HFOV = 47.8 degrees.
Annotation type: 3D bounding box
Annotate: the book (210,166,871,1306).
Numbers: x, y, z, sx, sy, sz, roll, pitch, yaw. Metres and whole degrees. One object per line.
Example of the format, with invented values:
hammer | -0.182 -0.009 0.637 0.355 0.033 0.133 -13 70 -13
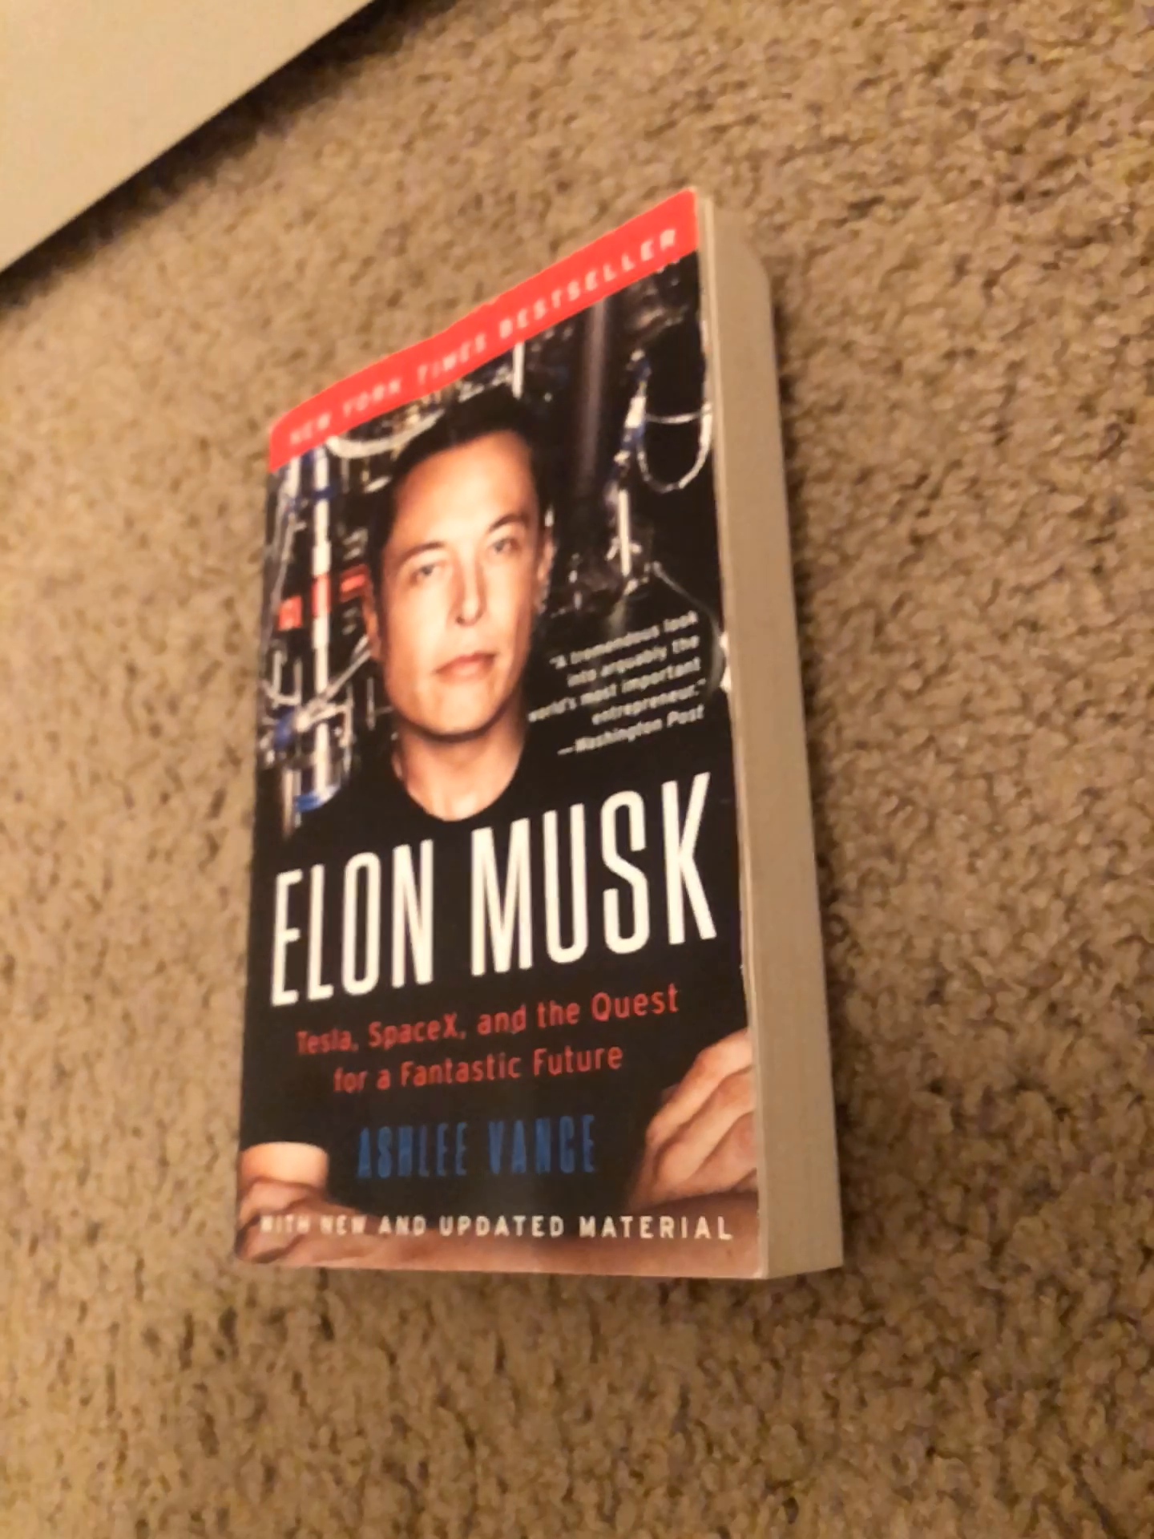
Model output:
book | -0.017 -0.001 0.273 0.137 0.033 0.202 -15 69 38
